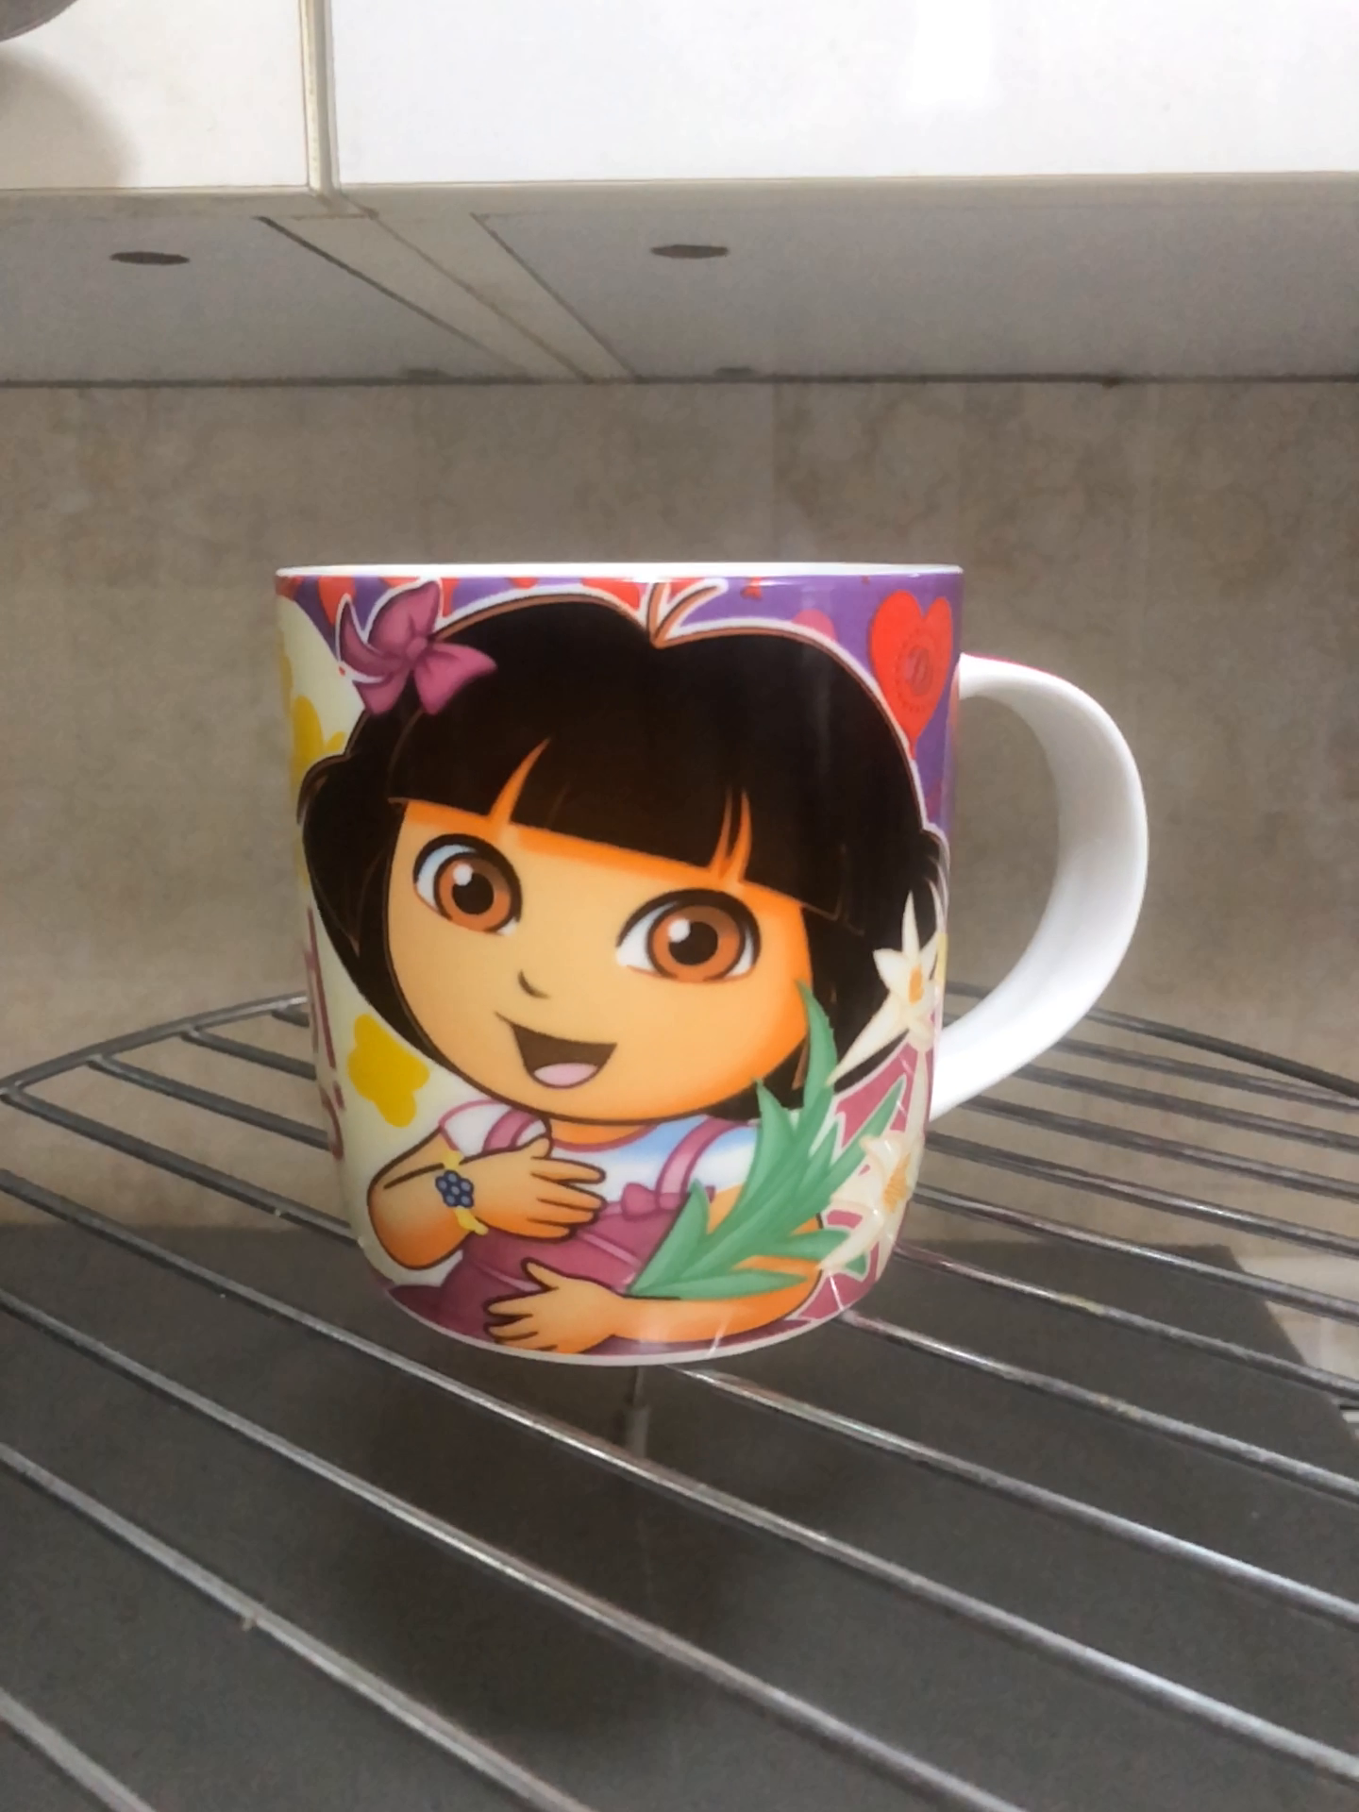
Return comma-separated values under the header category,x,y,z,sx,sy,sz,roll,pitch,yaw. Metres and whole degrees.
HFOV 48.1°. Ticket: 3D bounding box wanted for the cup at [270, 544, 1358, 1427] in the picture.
category,x,y,z,sx,sy,sz,roll,pitch,yaw
cup,0.013,-0.001,0.201,0.120,0.090,0.070,-4,13,-19
